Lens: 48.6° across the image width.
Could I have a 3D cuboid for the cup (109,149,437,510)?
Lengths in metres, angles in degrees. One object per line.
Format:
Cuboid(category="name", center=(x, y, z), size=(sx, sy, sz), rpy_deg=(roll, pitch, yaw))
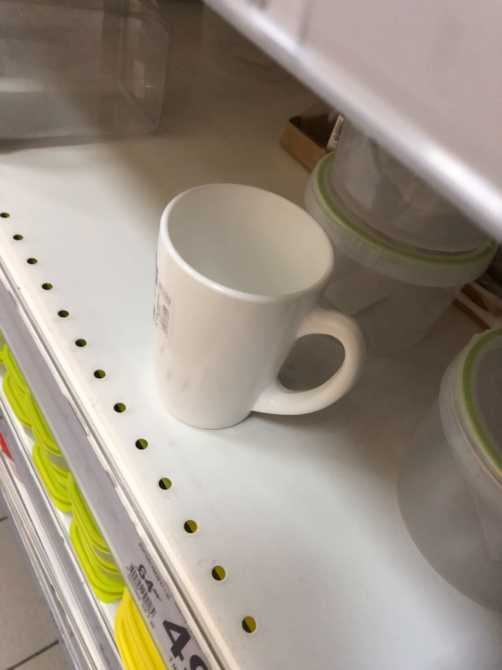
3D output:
Cuboid(category="cup", center=(0.000, -0.005, 0.276), size=(0.120, 0.107, 0.079), rpy_deg=(41, 51, 21))
